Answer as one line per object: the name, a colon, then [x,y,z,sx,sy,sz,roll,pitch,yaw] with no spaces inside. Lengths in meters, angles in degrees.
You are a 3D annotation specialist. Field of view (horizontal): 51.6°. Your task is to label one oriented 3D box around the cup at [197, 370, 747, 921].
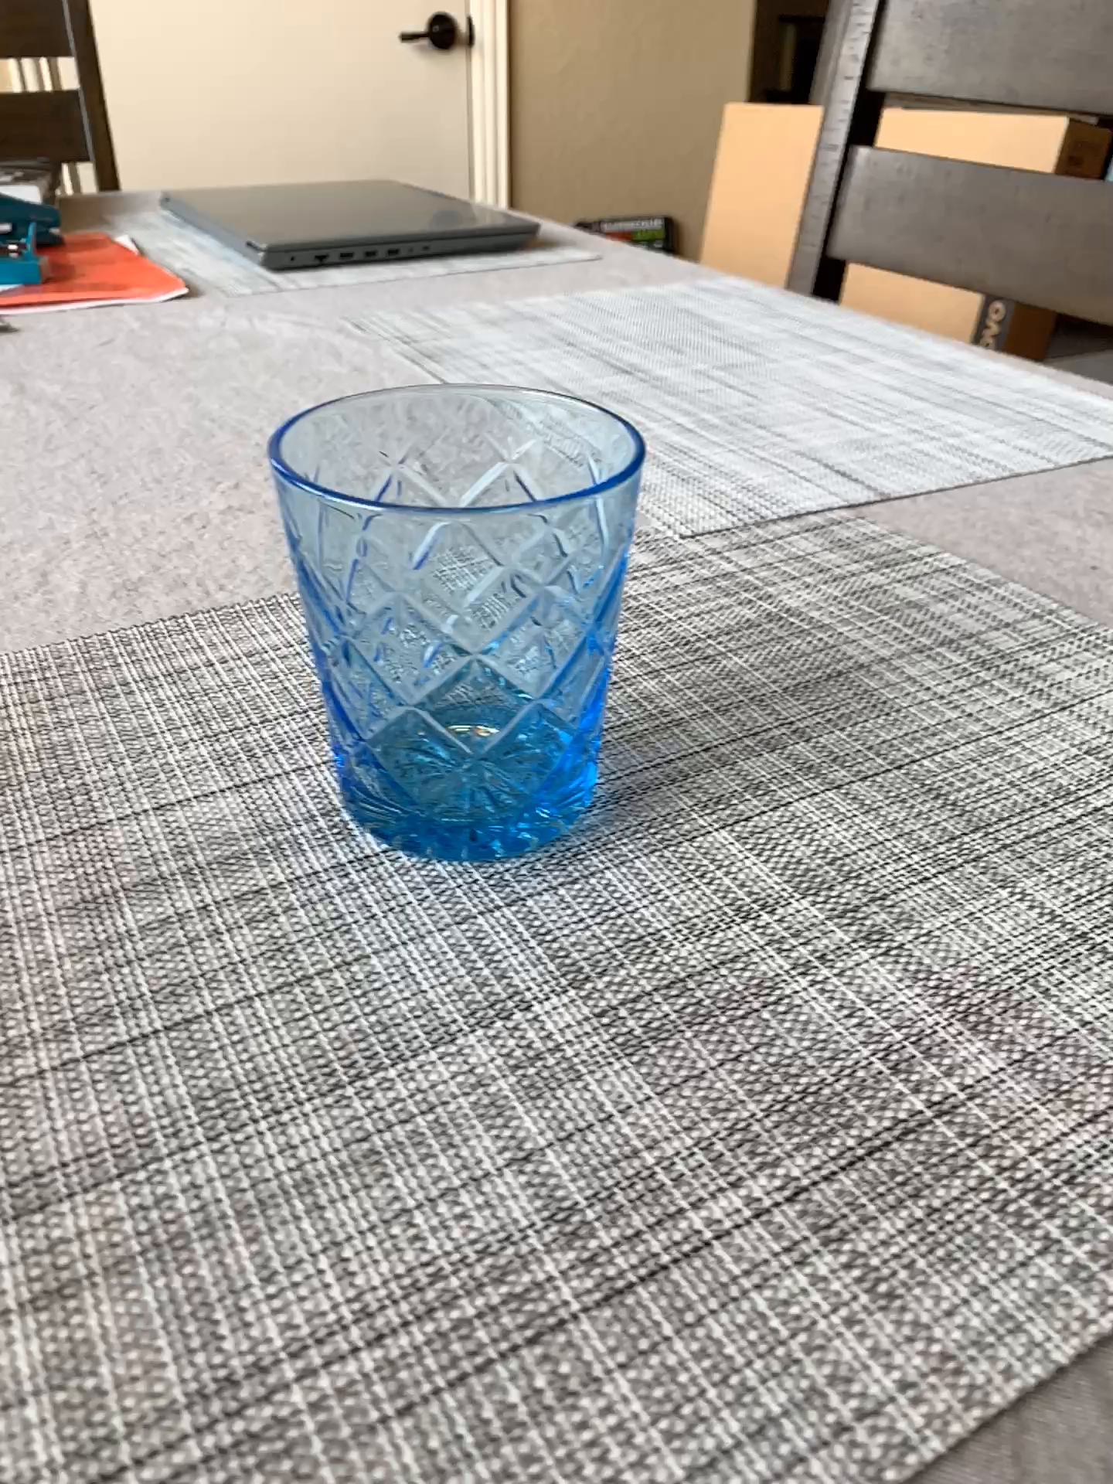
cup: [-0.022,-0.030,0.275,0.093,0.085,0.088,0,32,0]
